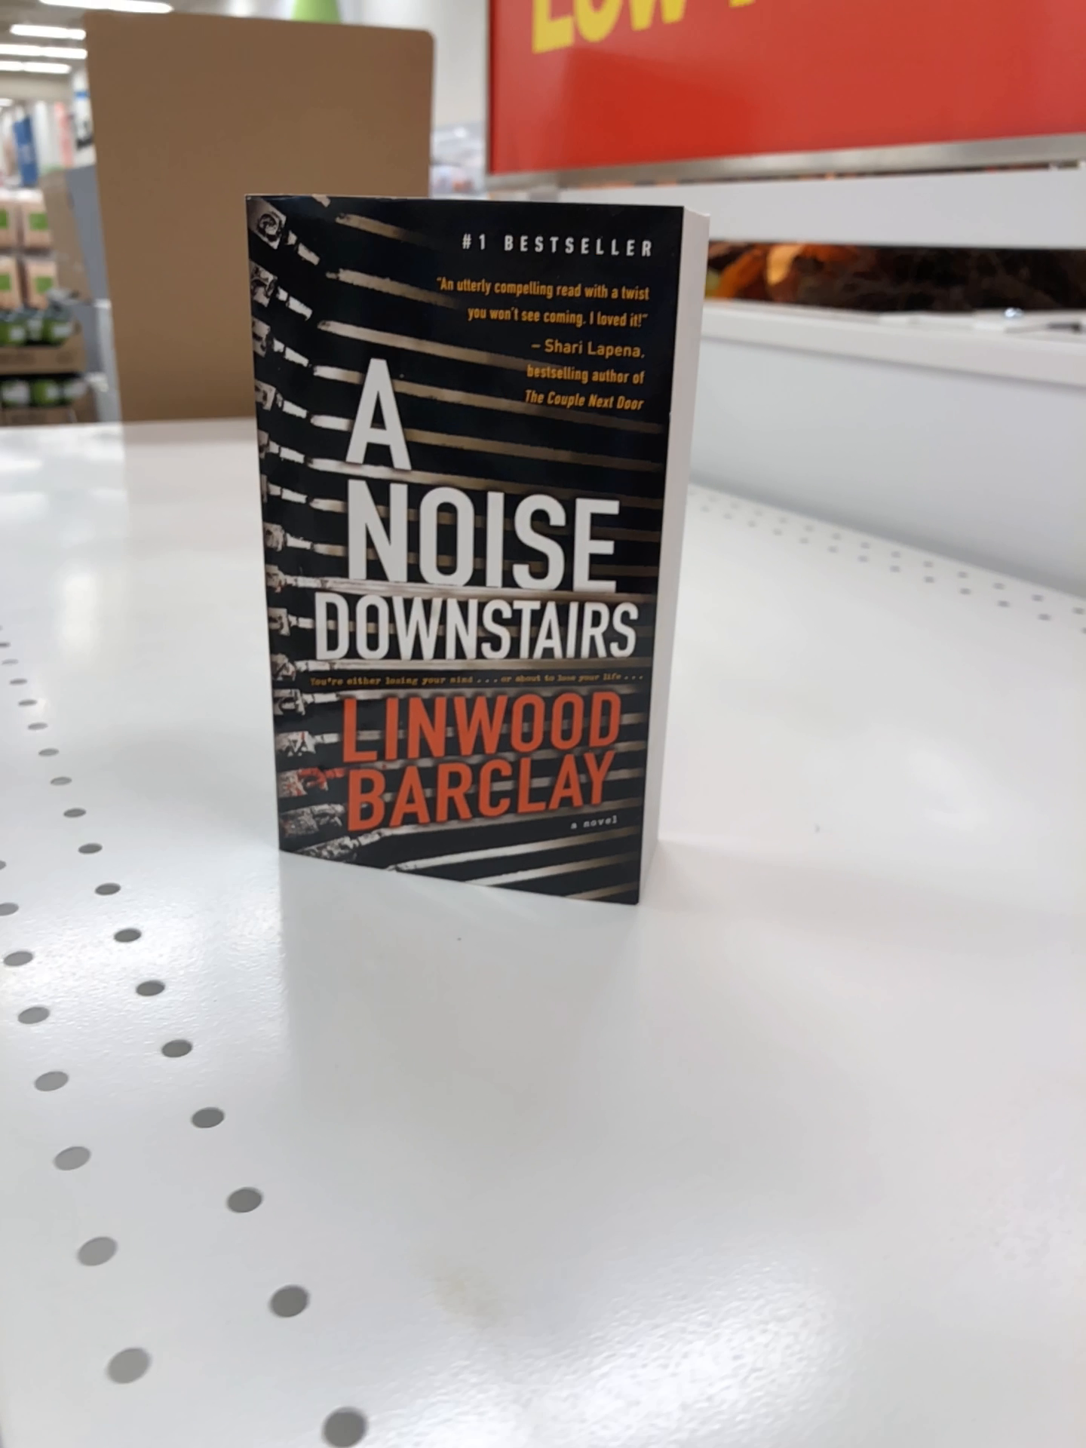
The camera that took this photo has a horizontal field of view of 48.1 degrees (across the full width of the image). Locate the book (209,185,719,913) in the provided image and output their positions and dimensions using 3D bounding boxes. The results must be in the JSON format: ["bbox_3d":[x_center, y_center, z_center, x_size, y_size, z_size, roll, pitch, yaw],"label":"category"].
[{"bbox_3d":[-0.018,-0.044,0.312,0.110,0.170,0.041,7,23,15],"label":"book"}]
